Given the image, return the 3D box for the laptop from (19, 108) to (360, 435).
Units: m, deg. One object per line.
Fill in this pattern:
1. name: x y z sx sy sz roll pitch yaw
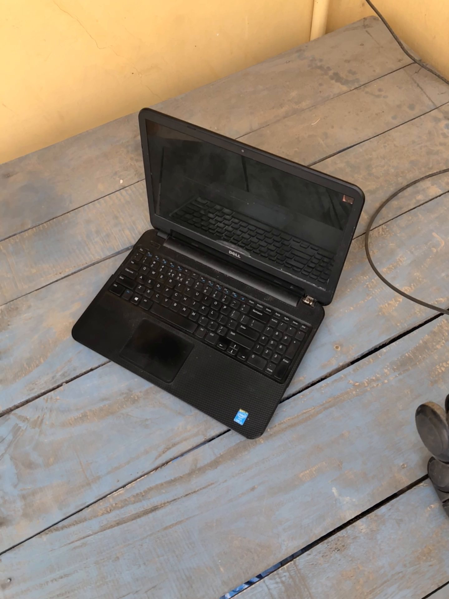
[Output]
1. laptop: -0.036 -0.045 0.730 0.331 0.215 0.307 26 67 18
